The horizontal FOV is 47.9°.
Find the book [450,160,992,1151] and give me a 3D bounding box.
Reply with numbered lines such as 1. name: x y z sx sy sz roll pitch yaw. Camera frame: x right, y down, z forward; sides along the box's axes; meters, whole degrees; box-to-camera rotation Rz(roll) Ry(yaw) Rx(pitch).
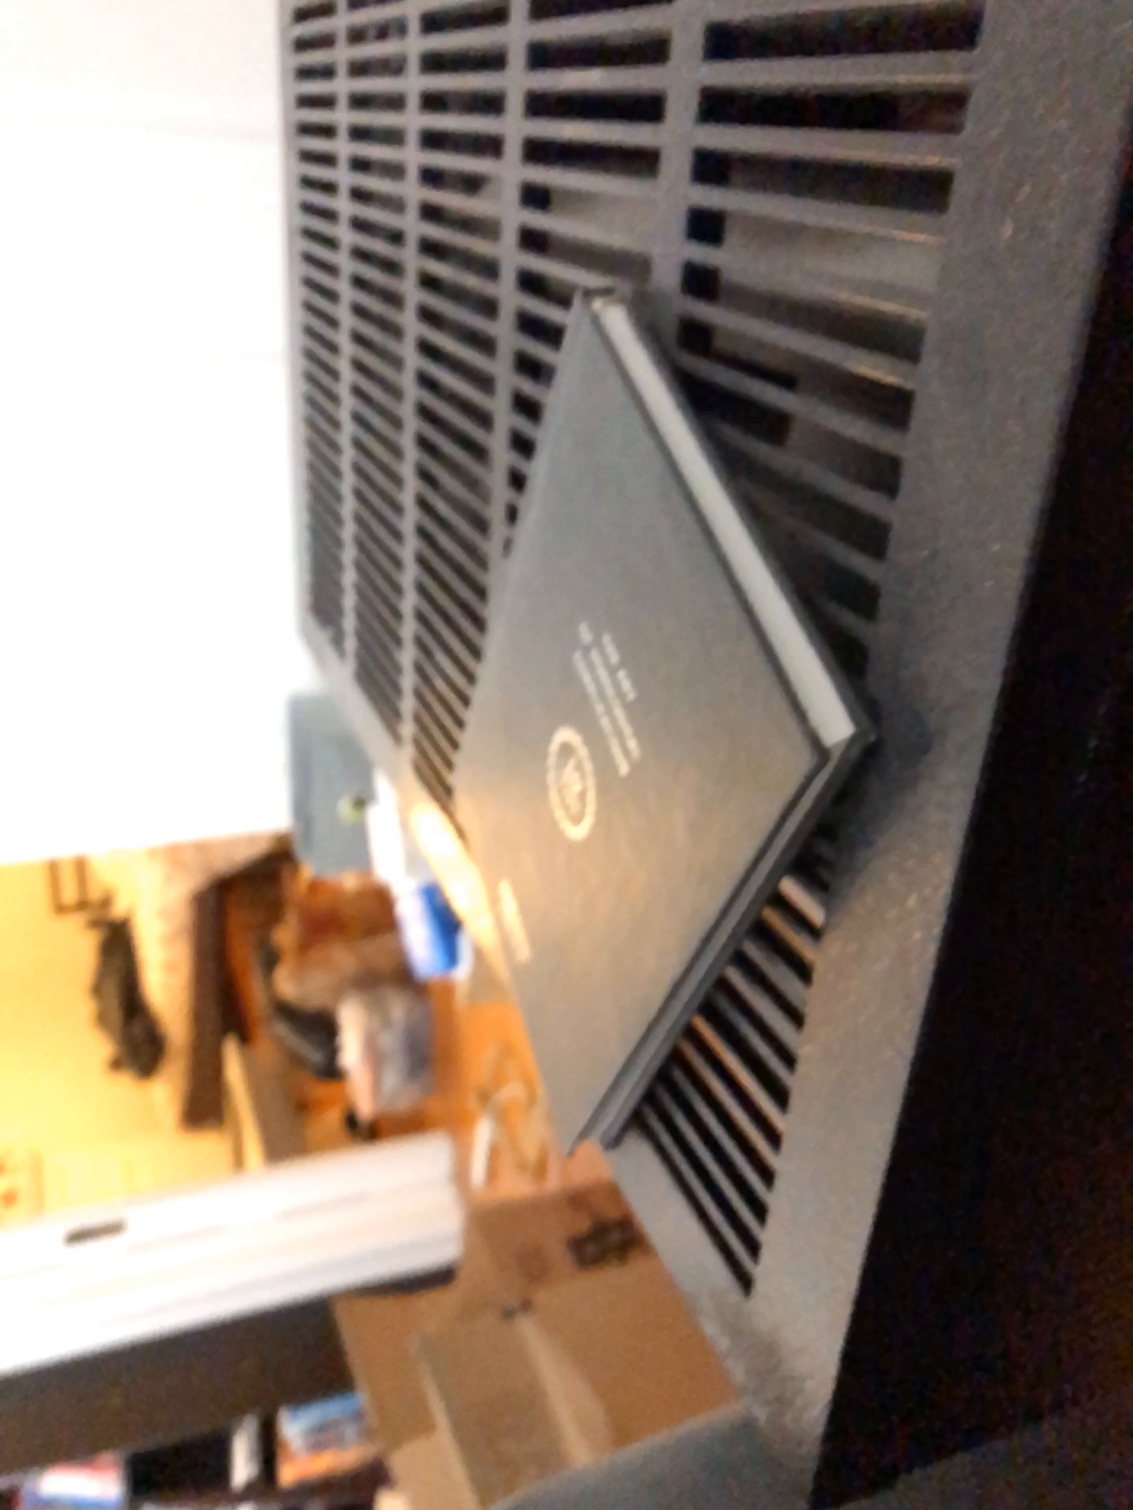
1. book: 0.016 -0.010 0.372 0.251 0.020 0.160 111 146 -49
